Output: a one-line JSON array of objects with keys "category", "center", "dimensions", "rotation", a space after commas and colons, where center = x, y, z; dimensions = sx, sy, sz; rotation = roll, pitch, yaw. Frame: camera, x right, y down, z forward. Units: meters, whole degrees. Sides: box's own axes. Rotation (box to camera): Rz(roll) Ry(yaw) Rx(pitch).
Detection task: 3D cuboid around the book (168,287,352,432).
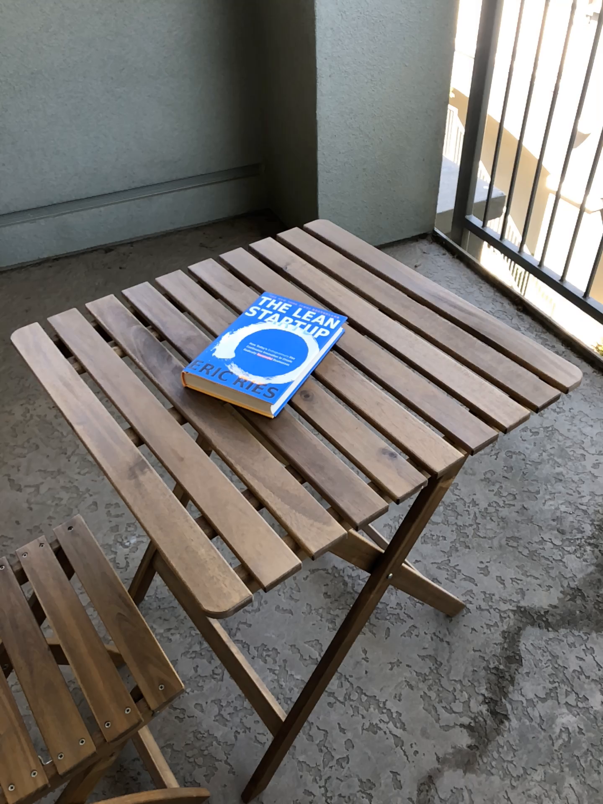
[{"category": "book", "center": [-0.052, -0.070, 0.949], "dimensions": [0.160, 0.040, 0.231], "rotation": [20, 47, 23]}]
